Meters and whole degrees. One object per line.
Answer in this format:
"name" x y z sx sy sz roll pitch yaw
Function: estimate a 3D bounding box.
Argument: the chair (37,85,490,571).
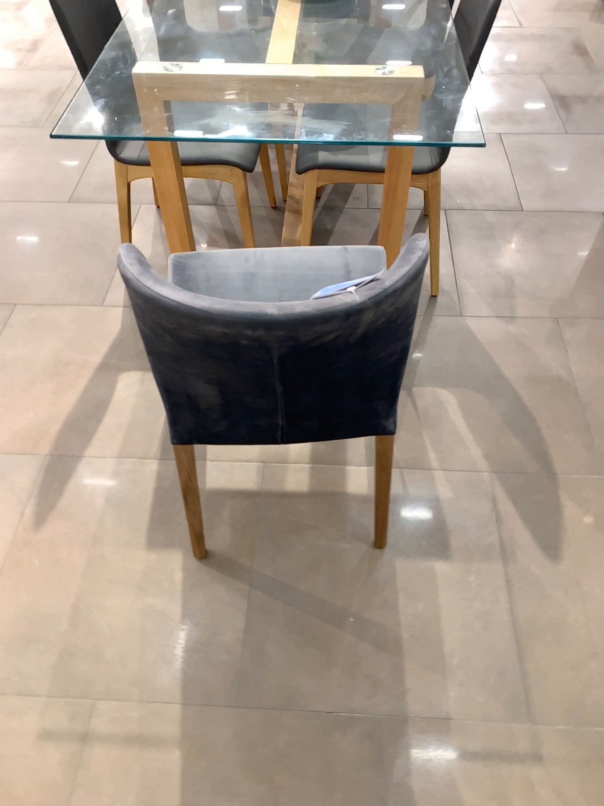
"chair" -0.043 -0.112 1.287 0.577 0.806 0.619 0 50 1
